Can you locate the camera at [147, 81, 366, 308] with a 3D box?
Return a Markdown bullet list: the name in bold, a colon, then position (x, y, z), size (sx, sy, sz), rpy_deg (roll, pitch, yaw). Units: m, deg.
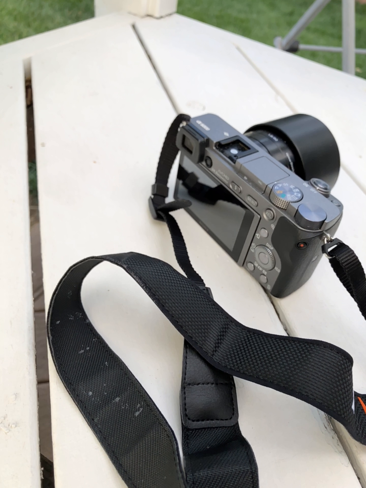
- **camera**: position (0.062, -0.047, 0.292), size (0.110, 0.070, 0.140), rpy_deg (-23, 52, -32)
